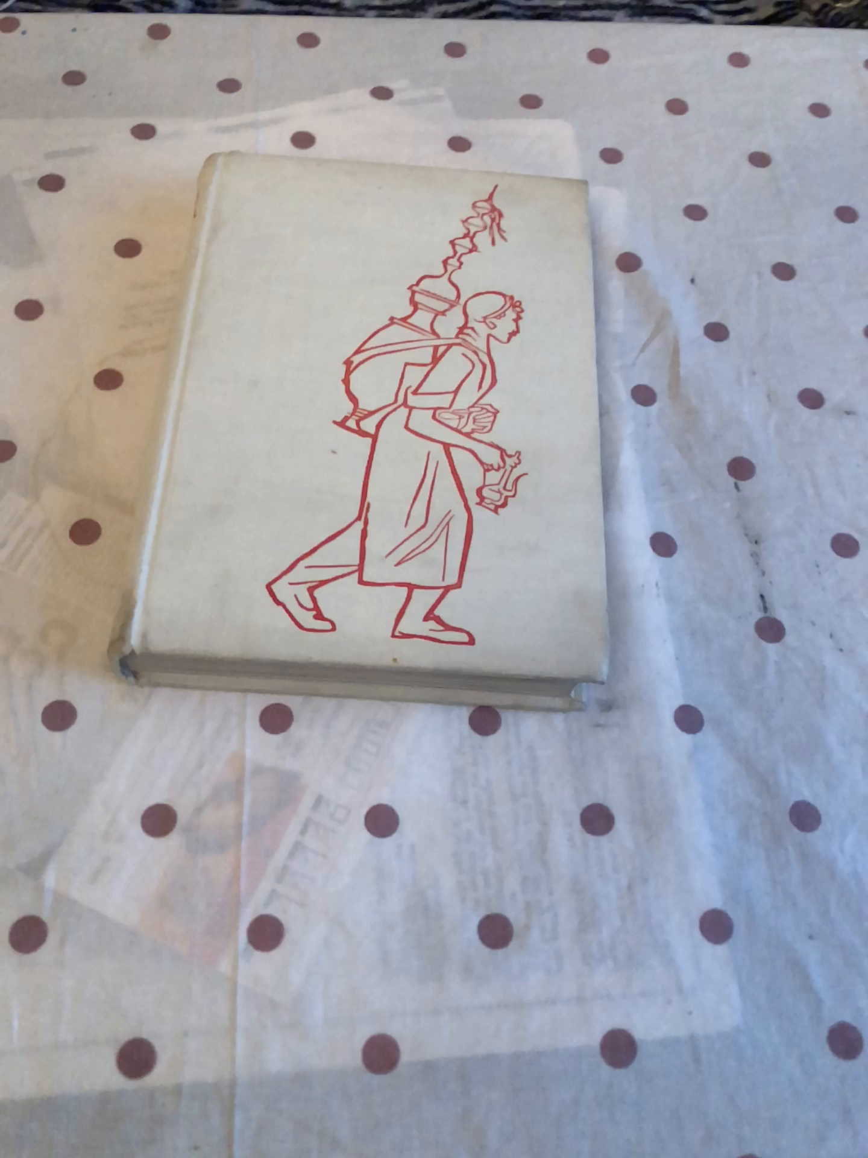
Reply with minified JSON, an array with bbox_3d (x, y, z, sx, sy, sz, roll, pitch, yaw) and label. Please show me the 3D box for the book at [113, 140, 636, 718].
[{"bbox_3d":[-0.017,-0.070,0.395,0.174,0.050,0.241,3,64,-3],"label":"book"}]
